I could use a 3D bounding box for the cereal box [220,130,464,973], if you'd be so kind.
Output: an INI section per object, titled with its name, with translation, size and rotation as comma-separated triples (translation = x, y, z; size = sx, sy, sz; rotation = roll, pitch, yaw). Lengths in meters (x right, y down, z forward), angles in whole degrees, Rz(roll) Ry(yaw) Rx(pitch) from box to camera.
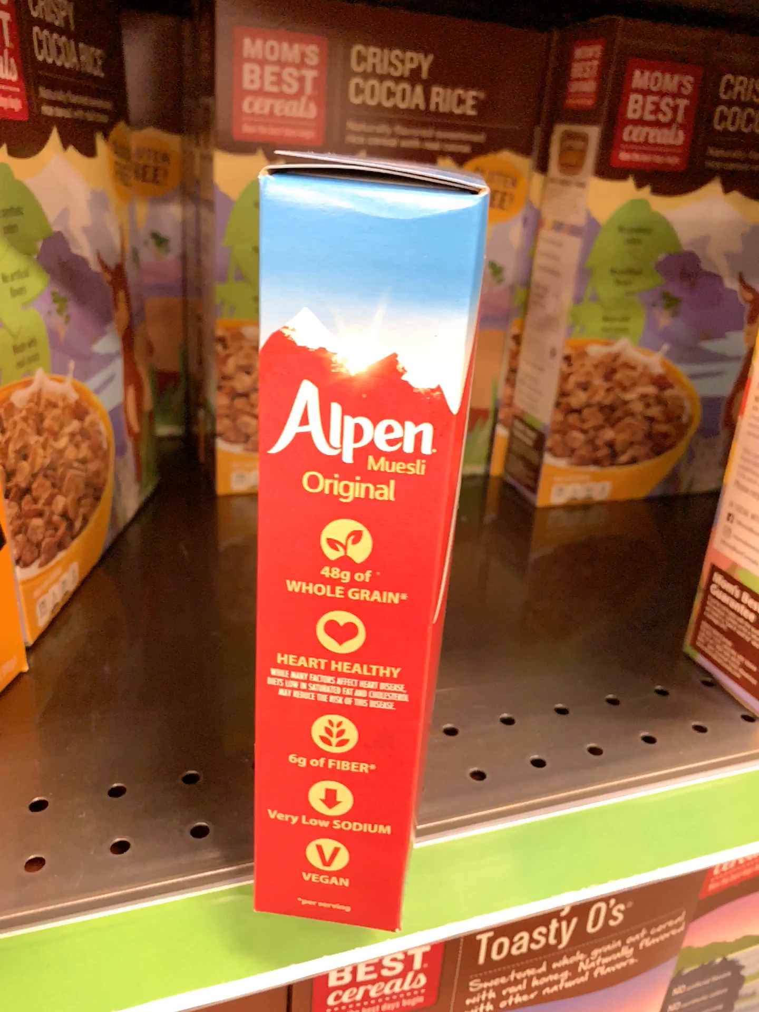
[cereal box]
translation = -0.006, 0.000, 0.254
size = 0.040, 0.209, 0.161
rotation = 6, 24, 5
